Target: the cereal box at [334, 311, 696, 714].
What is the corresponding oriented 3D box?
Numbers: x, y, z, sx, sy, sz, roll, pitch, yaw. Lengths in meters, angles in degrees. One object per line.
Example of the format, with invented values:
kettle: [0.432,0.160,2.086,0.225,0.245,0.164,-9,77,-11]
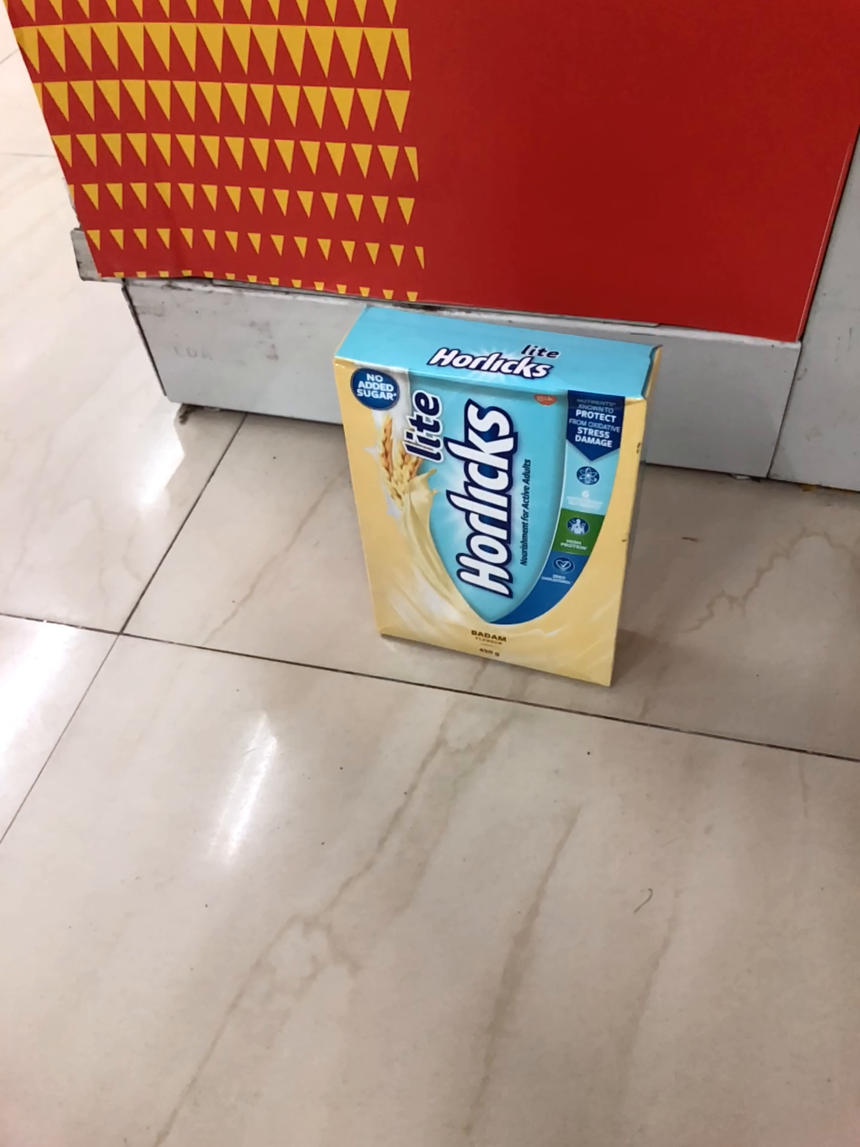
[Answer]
cereal box: [0.040,-0.025,0.480,0.150,0.189,0.050,12,45,15]
